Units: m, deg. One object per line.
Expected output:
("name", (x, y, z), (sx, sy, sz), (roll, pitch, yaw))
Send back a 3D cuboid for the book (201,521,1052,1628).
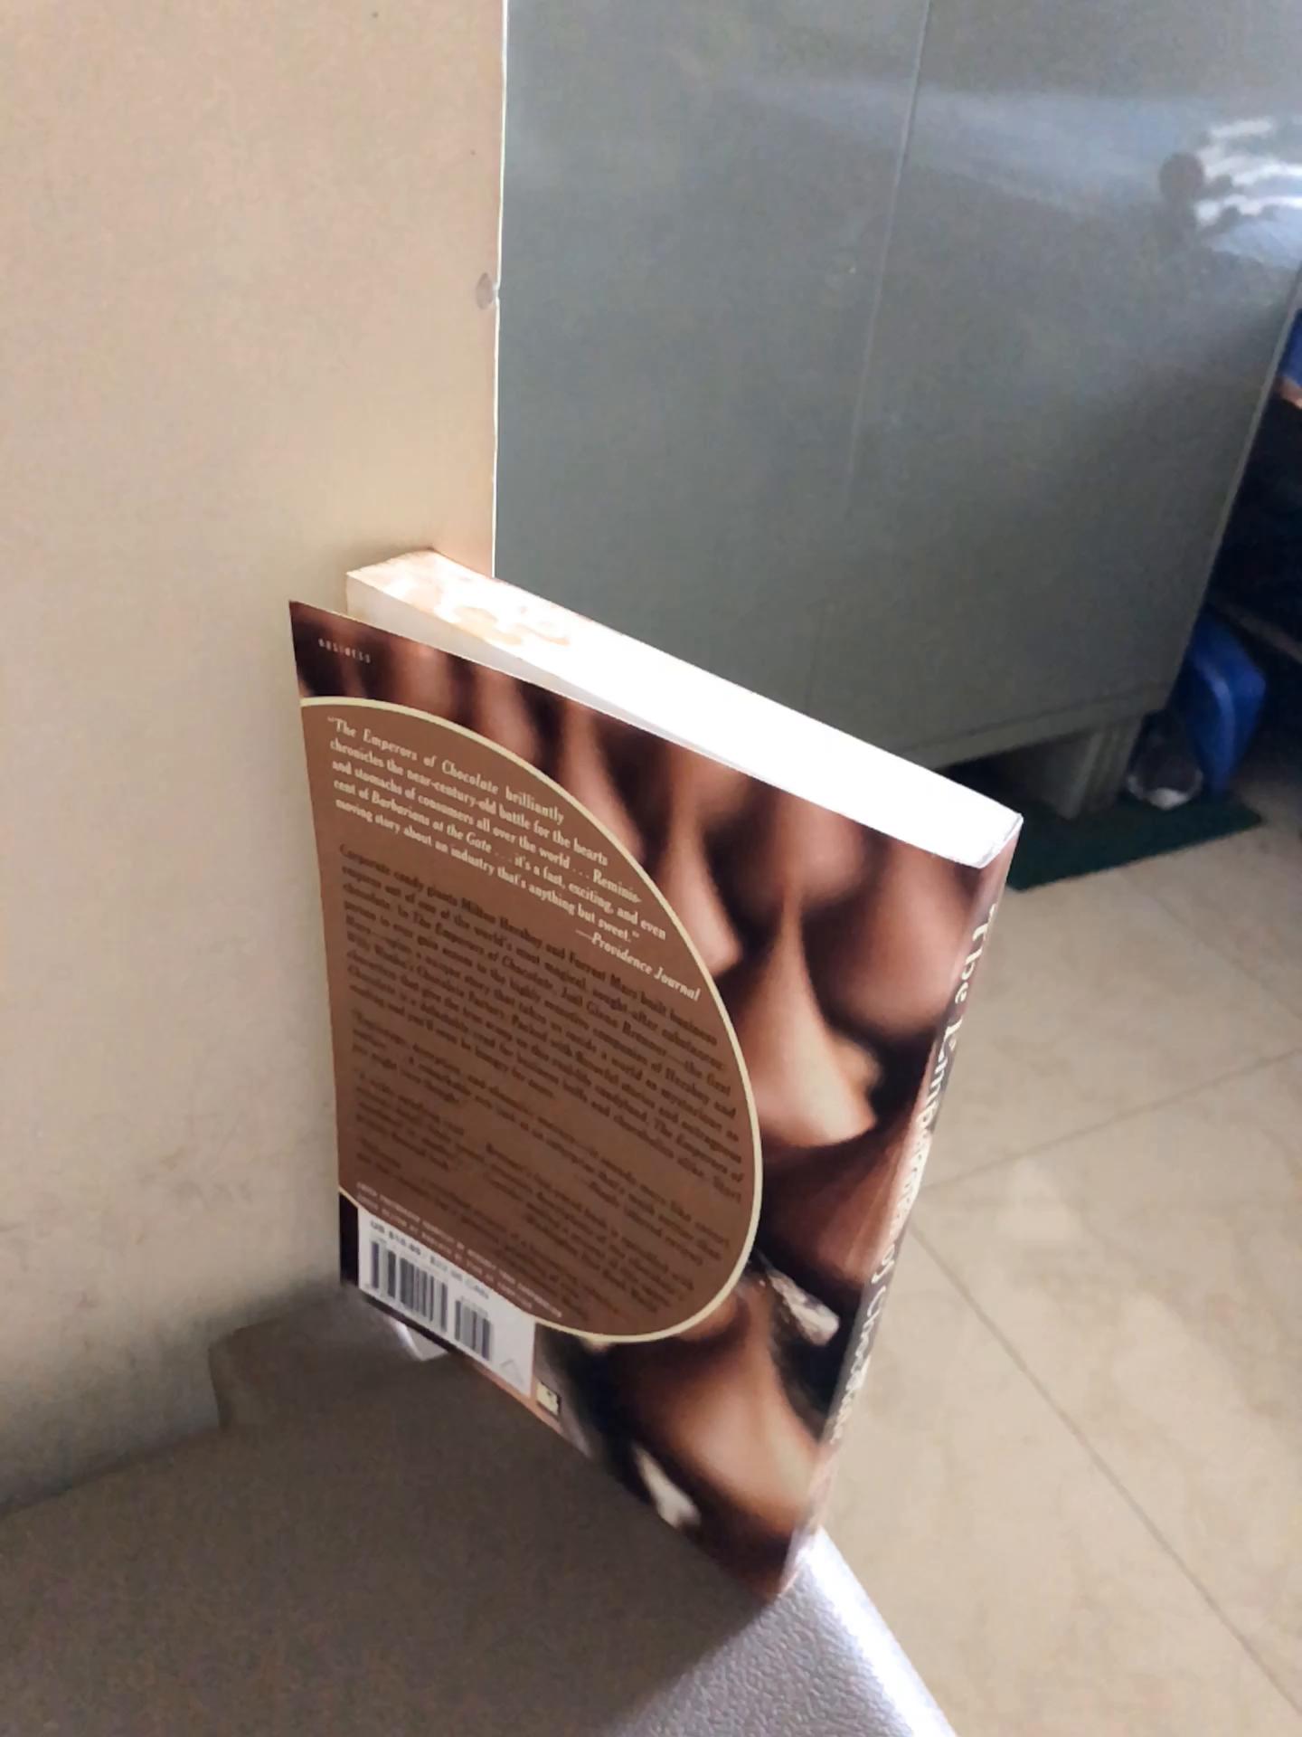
("book", (-0.018, 0.048, 0.316), (0.160, 0.199, 0.040), (27, 41, 27))
